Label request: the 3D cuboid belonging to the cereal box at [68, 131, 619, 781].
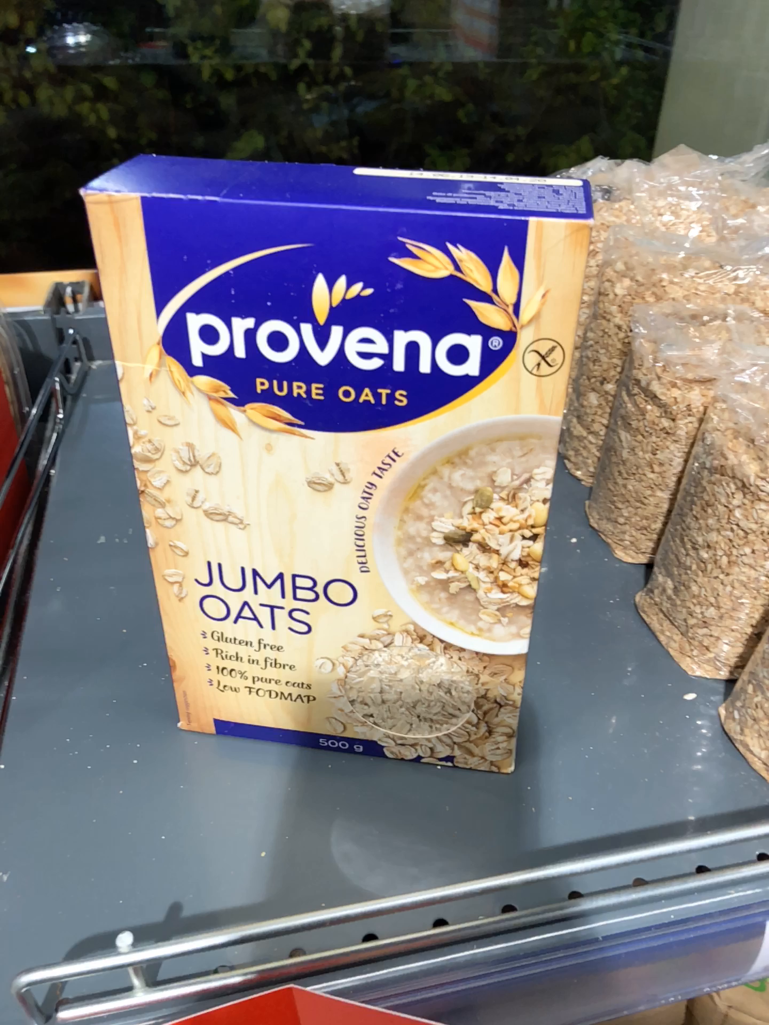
[{"bbox_3d":[-0.012,-0.008,0.311,0.150,0.229,0.050,6,34,7],"label":"cereal box"}]
